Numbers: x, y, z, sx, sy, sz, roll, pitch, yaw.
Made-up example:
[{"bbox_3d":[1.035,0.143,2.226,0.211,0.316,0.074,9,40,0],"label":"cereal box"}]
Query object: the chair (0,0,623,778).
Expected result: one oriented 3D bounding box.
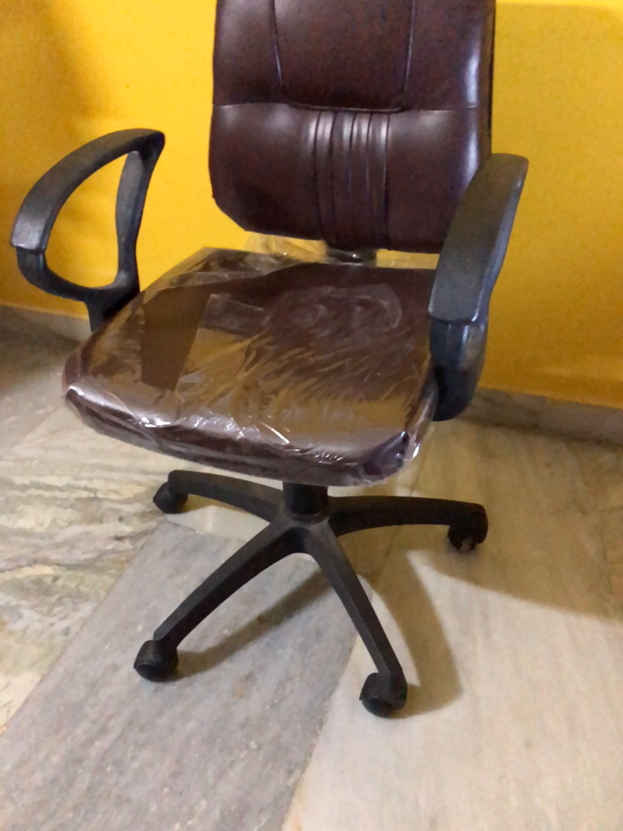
[{"bbox_3d":[-0.041,-0.154,0.968,0.690,0.973,0.685,8,39,15],"label":"chair"}]
